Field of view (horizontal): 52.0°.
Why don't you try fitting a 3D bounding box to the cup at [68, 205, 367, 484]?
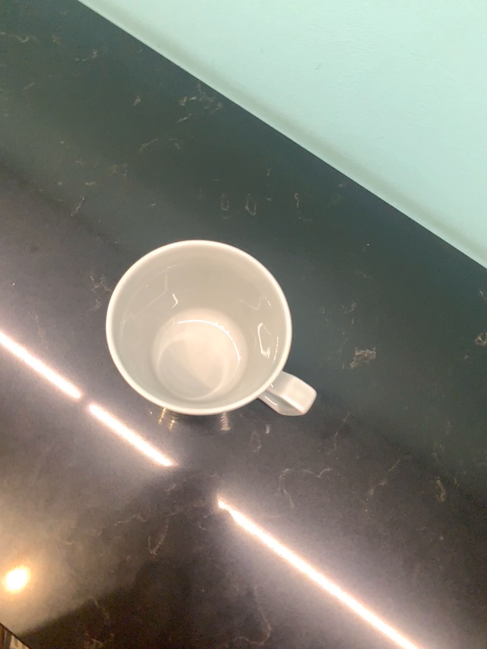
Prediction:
[{"bbox_3d":[-0.015,0.017,0.312,0.130,0.080,0.100,35,74,6],"label":"cup"}]
